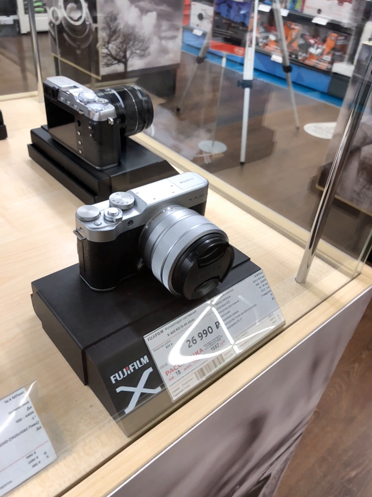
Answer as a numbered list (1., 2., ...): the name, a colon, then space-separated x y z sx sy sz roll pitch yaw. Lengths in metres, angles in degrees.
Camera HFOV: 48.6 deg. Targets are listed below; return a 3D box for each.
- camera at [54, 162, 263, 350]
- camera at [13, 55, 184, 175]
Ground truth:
1. camera: -0.021 -0.003 0.319 0.120 0.070 0.093 -25 47 -34
2. camera: -0.116 -0.184 0.538 0.130 0.074 0.188 -26 48 -35
